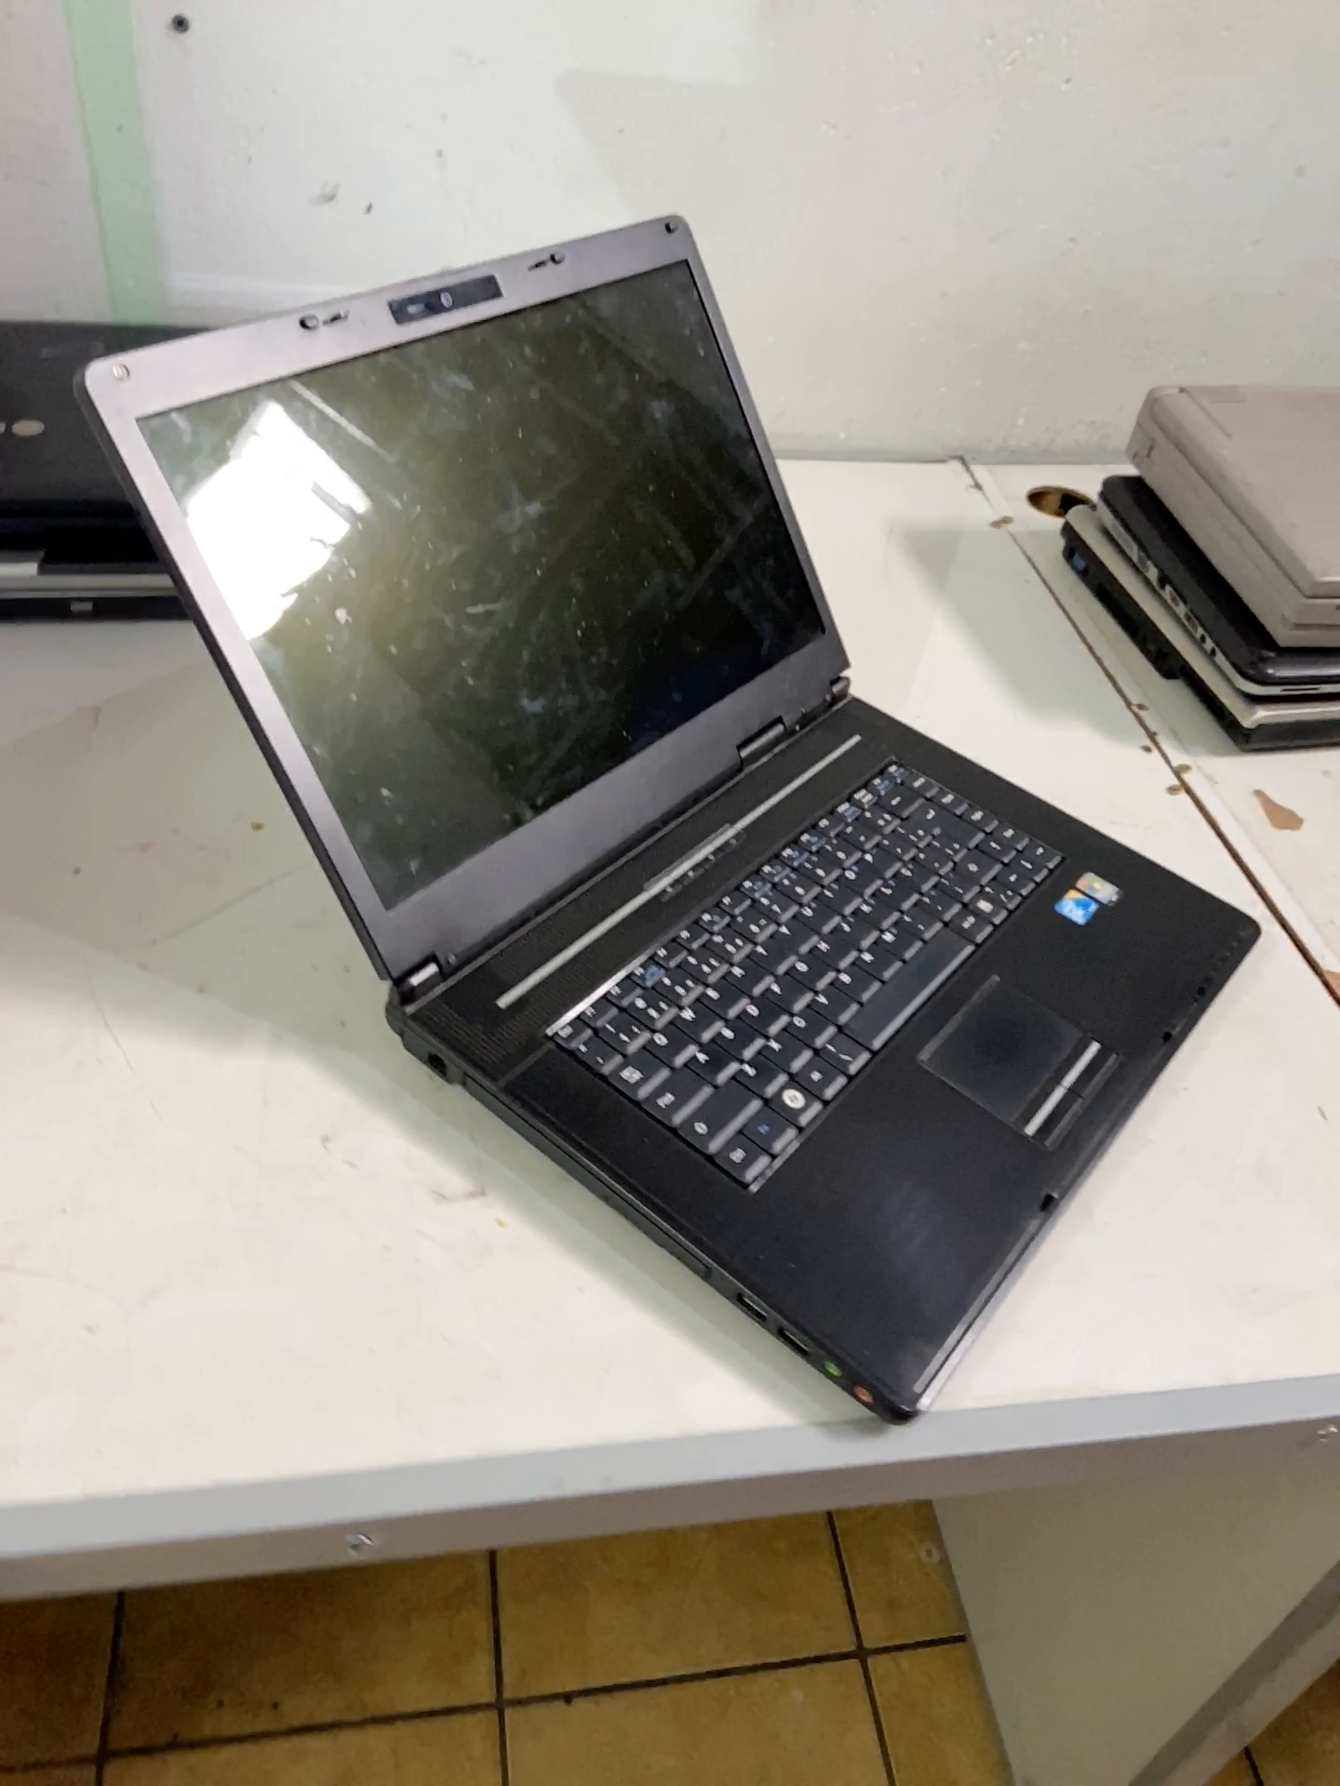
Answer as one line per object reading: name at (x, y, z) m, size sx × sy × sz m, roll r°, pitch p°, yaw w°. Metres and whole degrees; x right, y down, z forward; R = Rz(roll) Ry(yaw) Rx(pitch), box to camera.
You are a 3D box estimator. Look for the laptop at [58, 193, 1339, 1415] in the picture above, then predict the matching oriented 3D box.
laptop at (0.041, -0.091, 0.603) m, size 0.430 × 0.224 × 0.353 m, roll 33°, pitch 48°, yaw 23°
